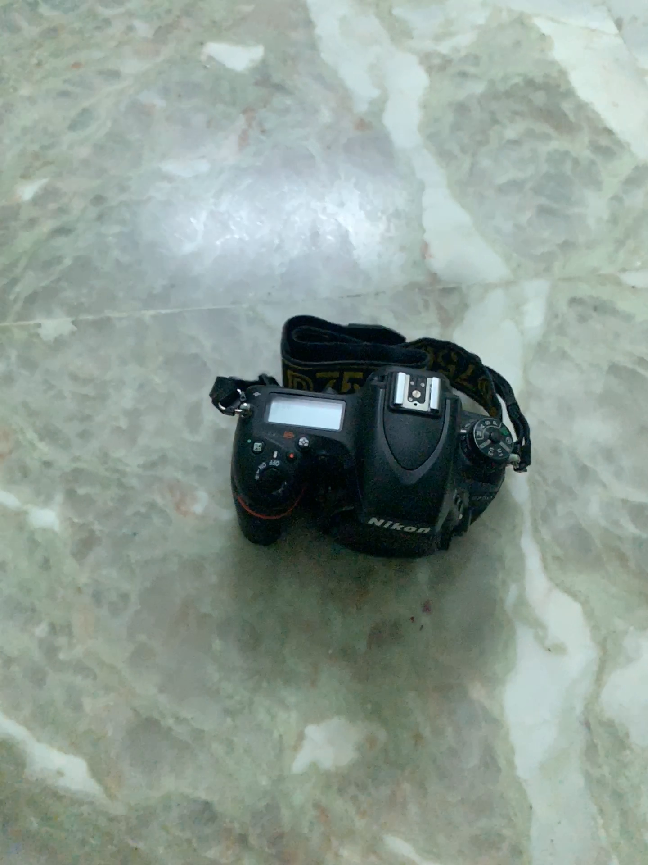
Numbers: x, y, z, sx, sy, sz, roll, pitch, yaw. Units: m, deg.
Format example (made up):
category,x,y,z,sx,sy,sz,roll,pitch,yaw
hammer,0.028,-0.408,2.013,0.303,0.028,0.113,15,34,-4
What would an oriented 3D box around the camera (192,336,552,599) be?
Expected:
category,x,y,z,sx,sy,sz,roll,pitch,yaw
camera,0.022,0.023,0.338,0.150,0.100,0.080,8,64,0
